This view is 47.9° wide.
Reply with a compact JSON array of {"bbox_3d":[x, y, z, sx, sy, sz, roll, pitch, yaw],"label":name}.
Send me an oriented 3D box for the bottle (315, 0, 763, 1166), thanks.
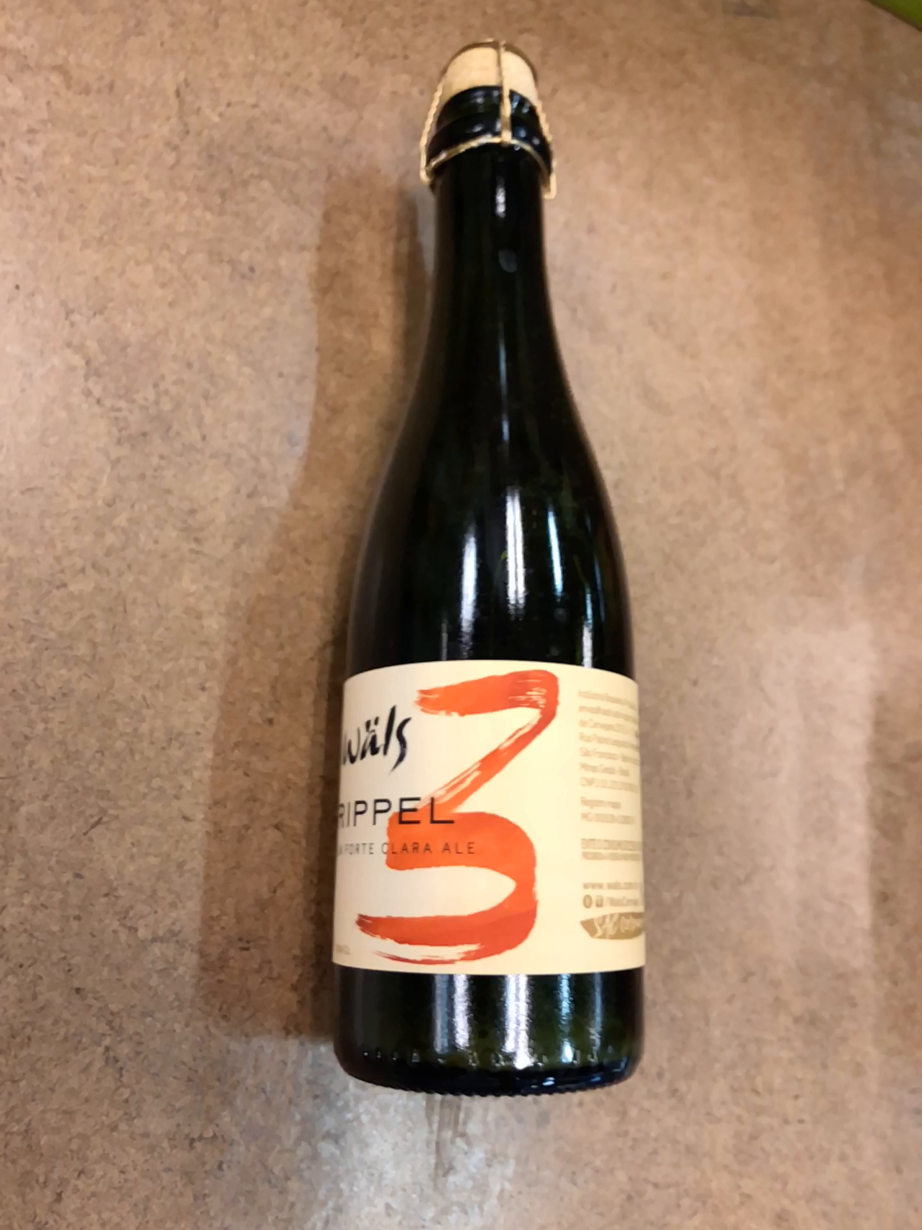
[{"bbox_3d":[0.016,-0.035,0.233,0.070,0.050,0.270,8,74,-27],"label":"bottle"}]
